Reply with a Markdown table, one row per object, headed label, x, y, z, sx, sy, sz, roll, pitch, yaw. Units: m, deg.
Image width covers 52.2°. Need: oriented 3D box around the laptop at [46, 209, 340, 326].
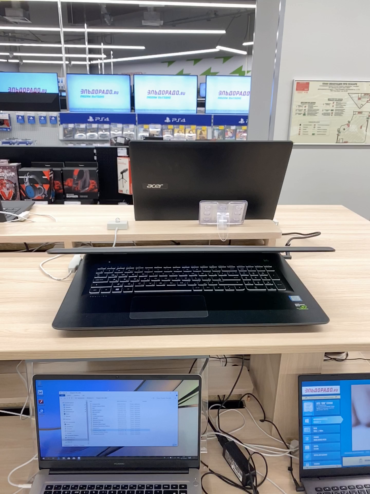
| label | x | y | z | sx | sy | sz | roll | pitch | yaw |
| --- | --- | --- | --- | --- | --- | --- | --- | --- | --- |
| laptop | 0.006 | 0.018 | 0.670 | 0.413 | 0.095 | 0.269 | 0 | 22 | -3 |
